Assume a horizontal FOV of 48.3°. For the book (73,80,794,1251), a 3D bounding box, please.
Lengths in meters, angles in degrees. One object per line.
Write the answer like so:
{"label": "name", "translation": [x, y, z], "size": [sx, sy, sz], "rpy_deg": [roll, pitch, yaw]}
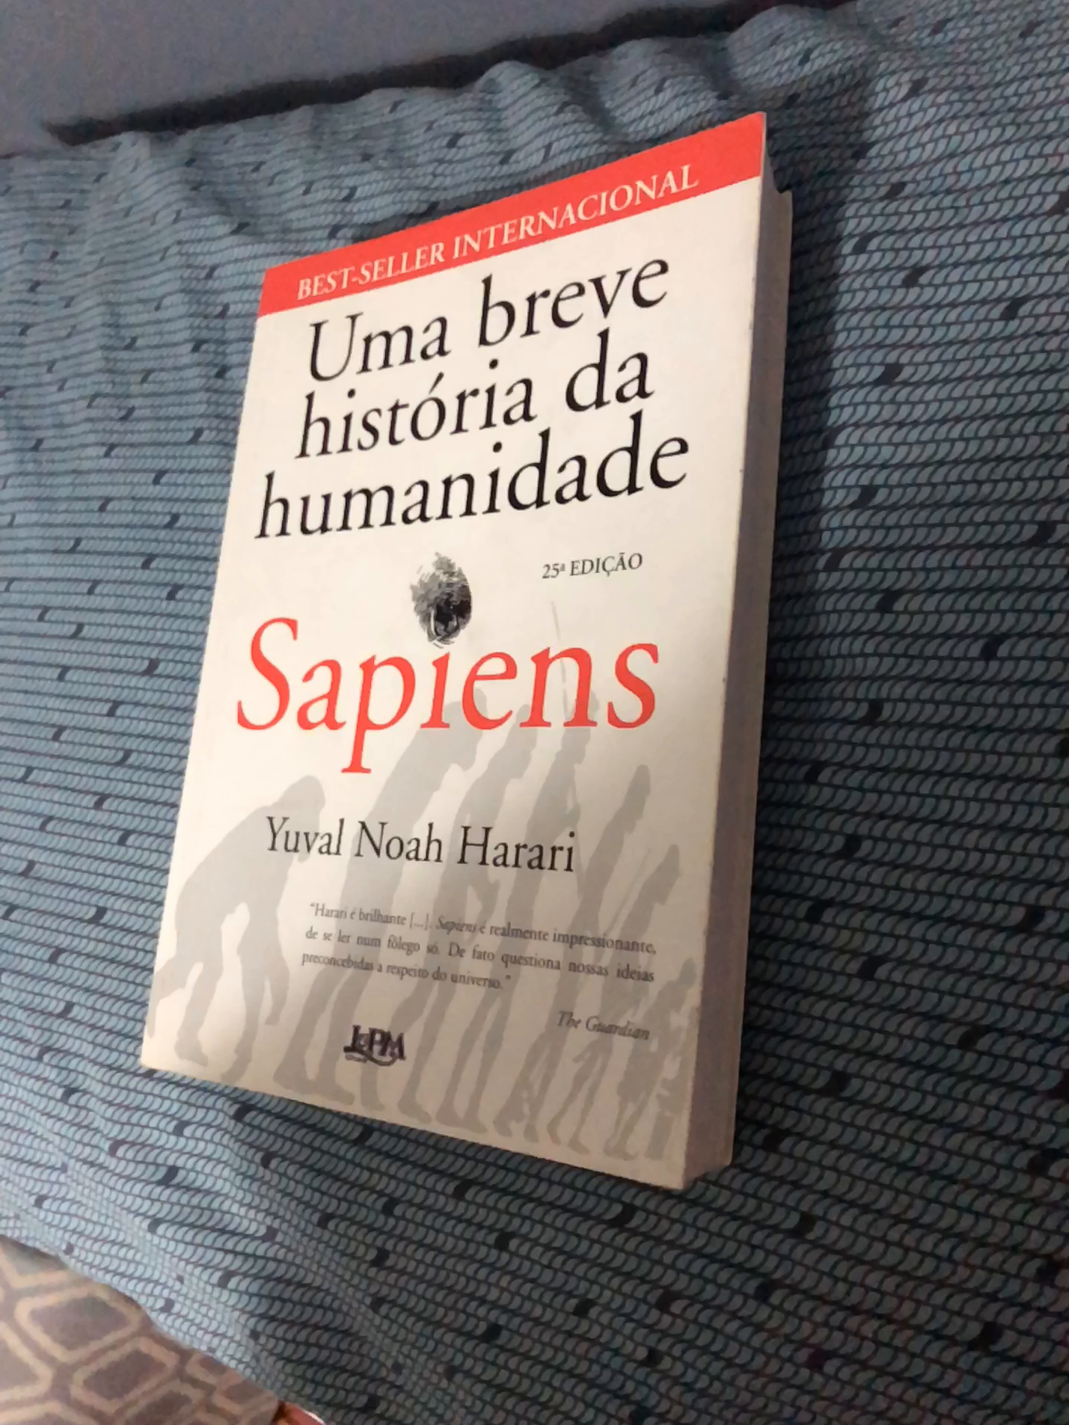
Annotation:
{"label": "book", "translation": [-0.026, -0.015, 0.296], "size": [0.161, 0.040, 0.240], "rpy_deg": [-1, 77, 32]}
